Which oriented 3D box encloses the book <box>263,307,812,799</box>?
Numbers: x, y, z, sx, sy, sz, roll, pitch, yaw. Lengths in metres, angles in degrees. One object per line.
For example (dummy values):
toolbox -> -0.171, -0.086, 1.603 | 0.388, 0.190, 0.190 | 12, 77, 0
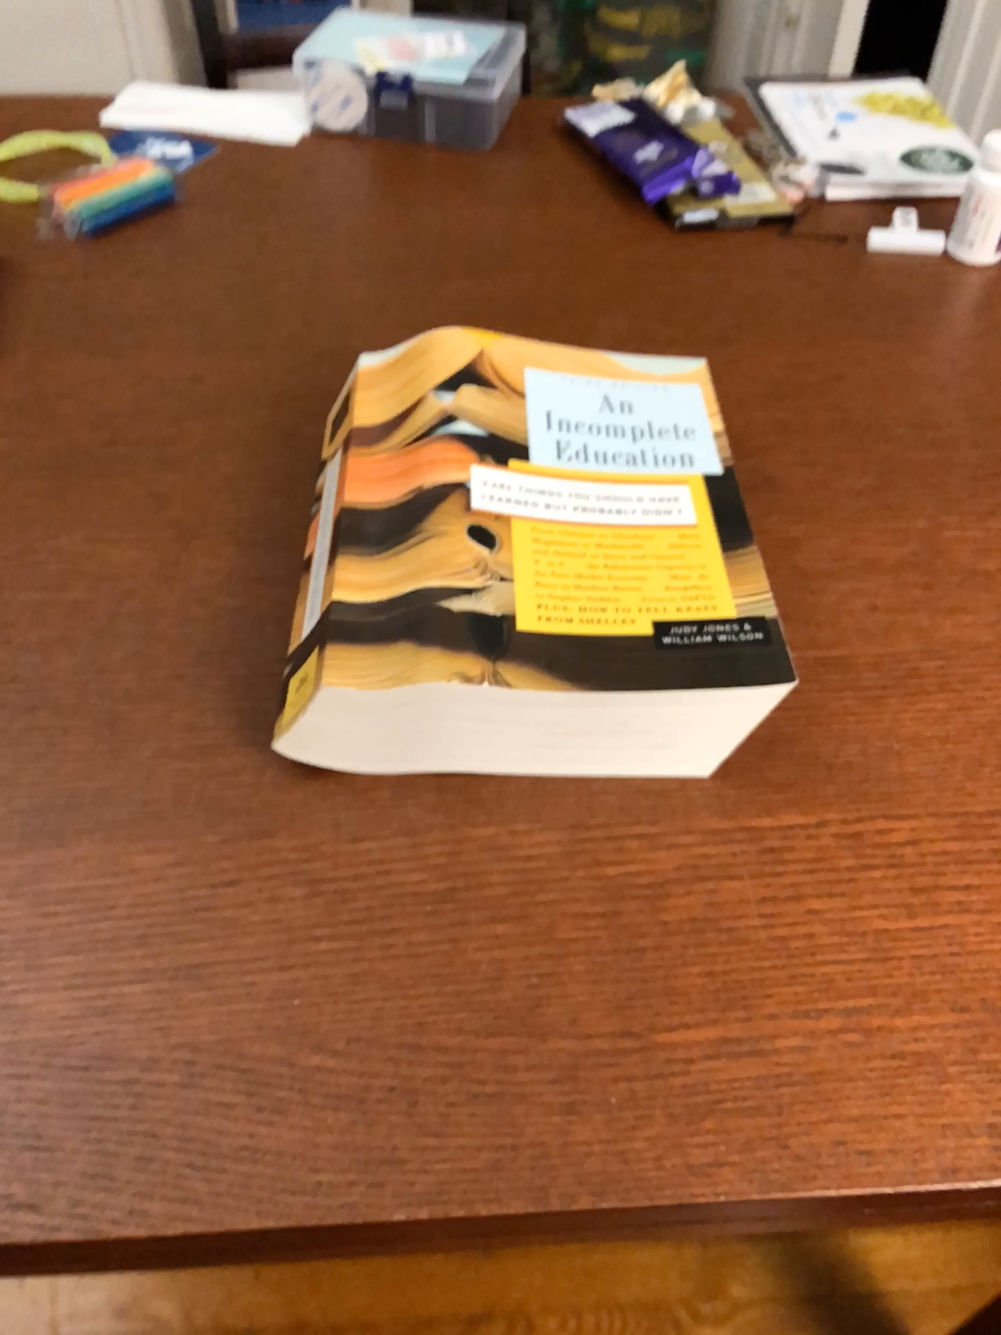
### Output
book -> 0.007, -0.064, 0.525 | 0.210, 0.060, 0.252 | 5, 47, -10
